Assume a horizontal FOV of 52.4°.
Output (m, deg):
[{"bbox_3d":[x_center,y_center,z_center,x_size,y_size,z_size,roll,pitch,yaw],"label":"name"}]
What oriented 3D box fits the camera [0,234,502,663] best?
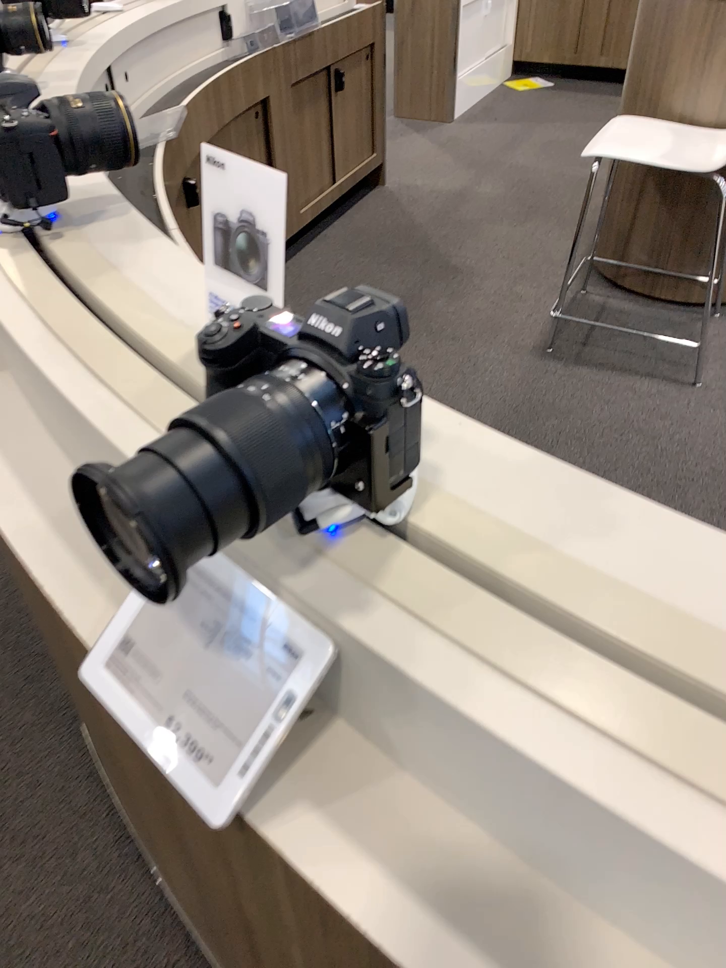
[{"bbox_3d":[-0.048,-0.038,0.401,0.141,0.099,0.210,30,50,32],"label":"camera"}]
